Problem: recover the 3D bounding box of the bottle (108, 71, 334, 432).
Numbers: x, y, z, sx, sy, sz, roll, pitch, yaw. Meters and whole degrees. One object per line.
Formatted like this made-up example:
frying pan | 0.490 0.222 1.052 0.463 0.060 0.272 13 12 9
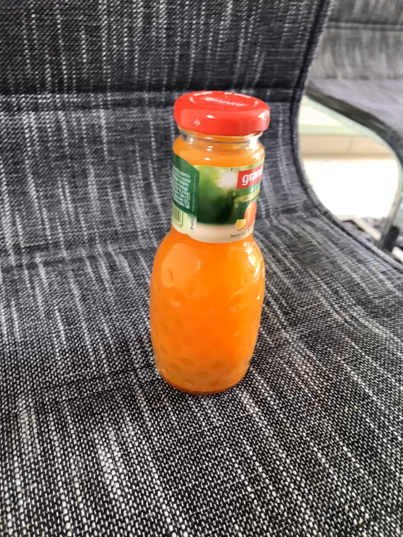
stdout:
bottle | 0.003 -0.007 0.219 0.060 0.149 0.070 28 39 28
